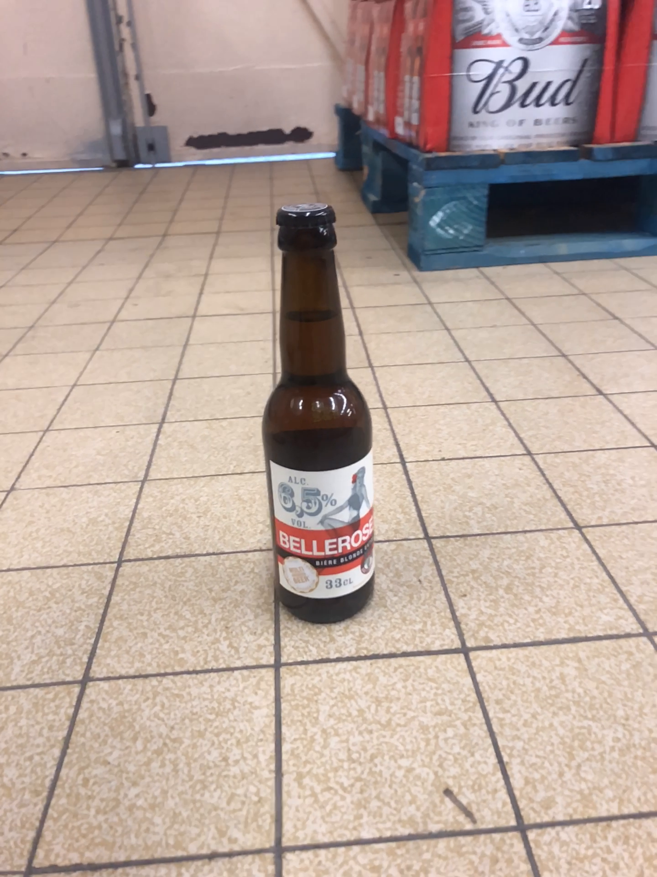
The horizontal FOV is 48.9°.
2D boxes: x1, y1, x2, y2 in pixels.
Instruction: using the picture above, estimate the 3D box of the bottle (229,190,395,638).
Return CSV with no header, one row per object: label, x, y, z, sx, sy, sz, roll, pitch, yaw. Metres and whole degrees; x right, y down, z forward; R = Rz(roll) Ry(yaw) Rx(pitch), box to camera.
bottle,-0.006,-0.009,0.382,0.060,0.219,0.070,-10,28,-14
